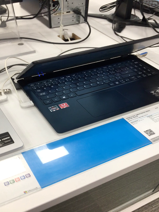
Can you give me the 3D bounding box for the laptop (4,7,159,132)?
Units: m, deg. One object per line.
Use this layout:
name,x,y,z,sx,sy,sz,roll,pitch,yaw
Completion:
laptop,0.068,-0.109,0.510,0.380,0.157,0.231,-19,48,-18
